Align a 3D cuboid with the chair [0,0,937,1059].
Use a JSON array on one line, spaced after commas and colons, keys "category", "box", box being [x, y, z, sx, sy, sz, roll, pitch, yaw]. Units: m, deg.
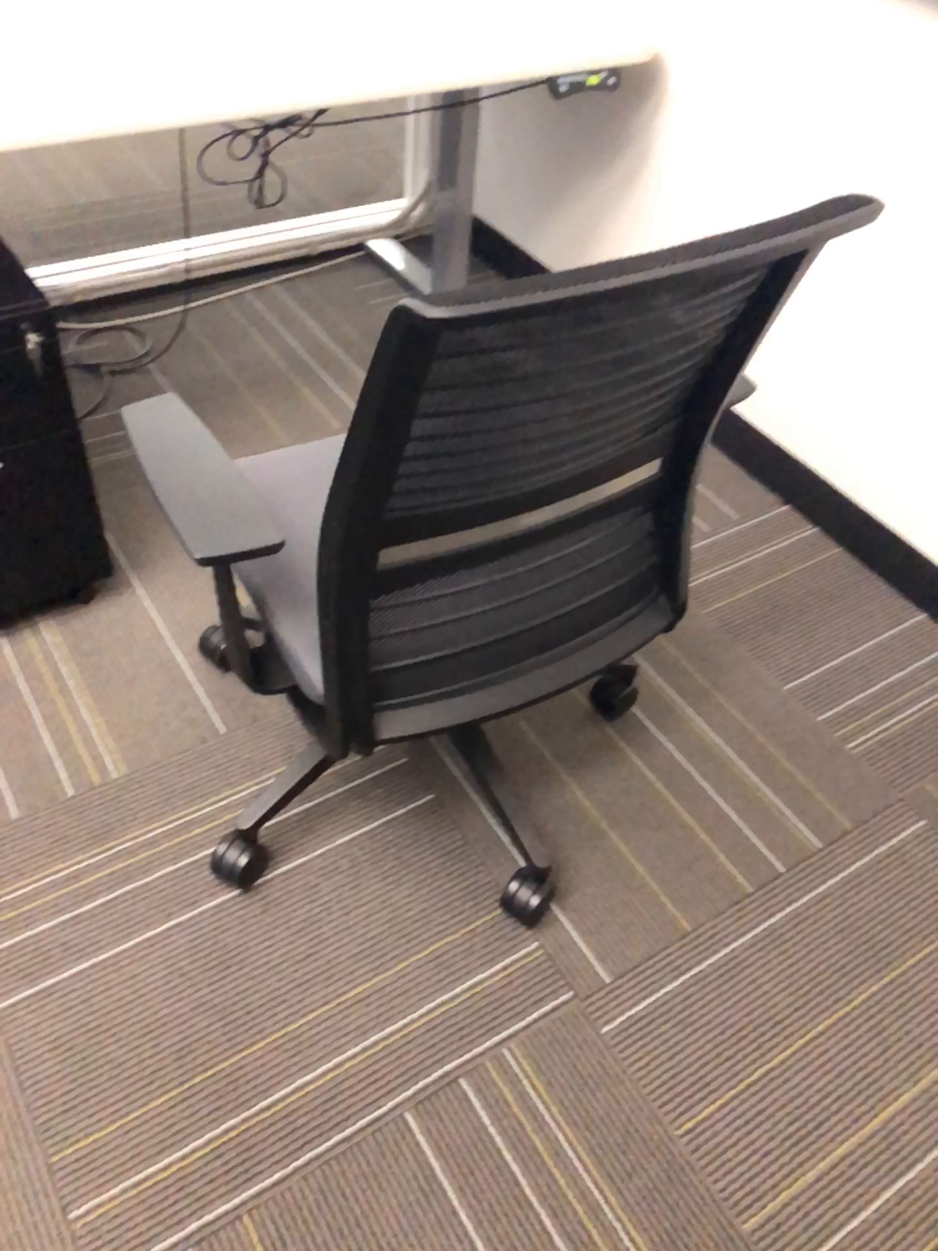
[{"category": "chair", "box": [-0.049, -0.168, 1.202, 0.721, 0.906, 0.682, -23, 52, -26]}]
